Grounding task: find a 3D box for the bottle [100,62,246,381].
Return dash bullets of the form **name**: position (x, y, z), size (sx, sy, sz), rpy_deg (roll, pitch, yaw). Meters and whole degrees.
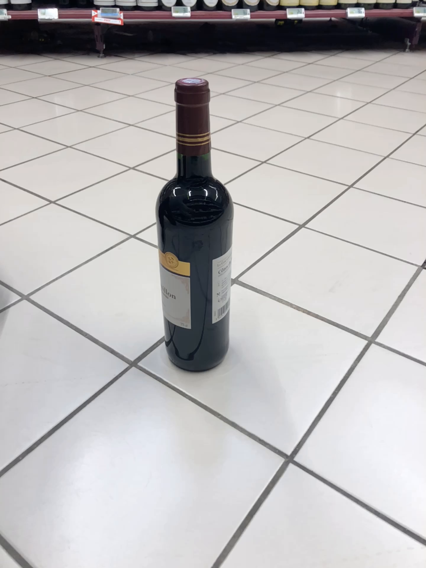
- **bottle**: position (-0.029, -0.048, 0.456), size (0.090, 0.288, 0.091), rpy_deg (0, 36, 0)
